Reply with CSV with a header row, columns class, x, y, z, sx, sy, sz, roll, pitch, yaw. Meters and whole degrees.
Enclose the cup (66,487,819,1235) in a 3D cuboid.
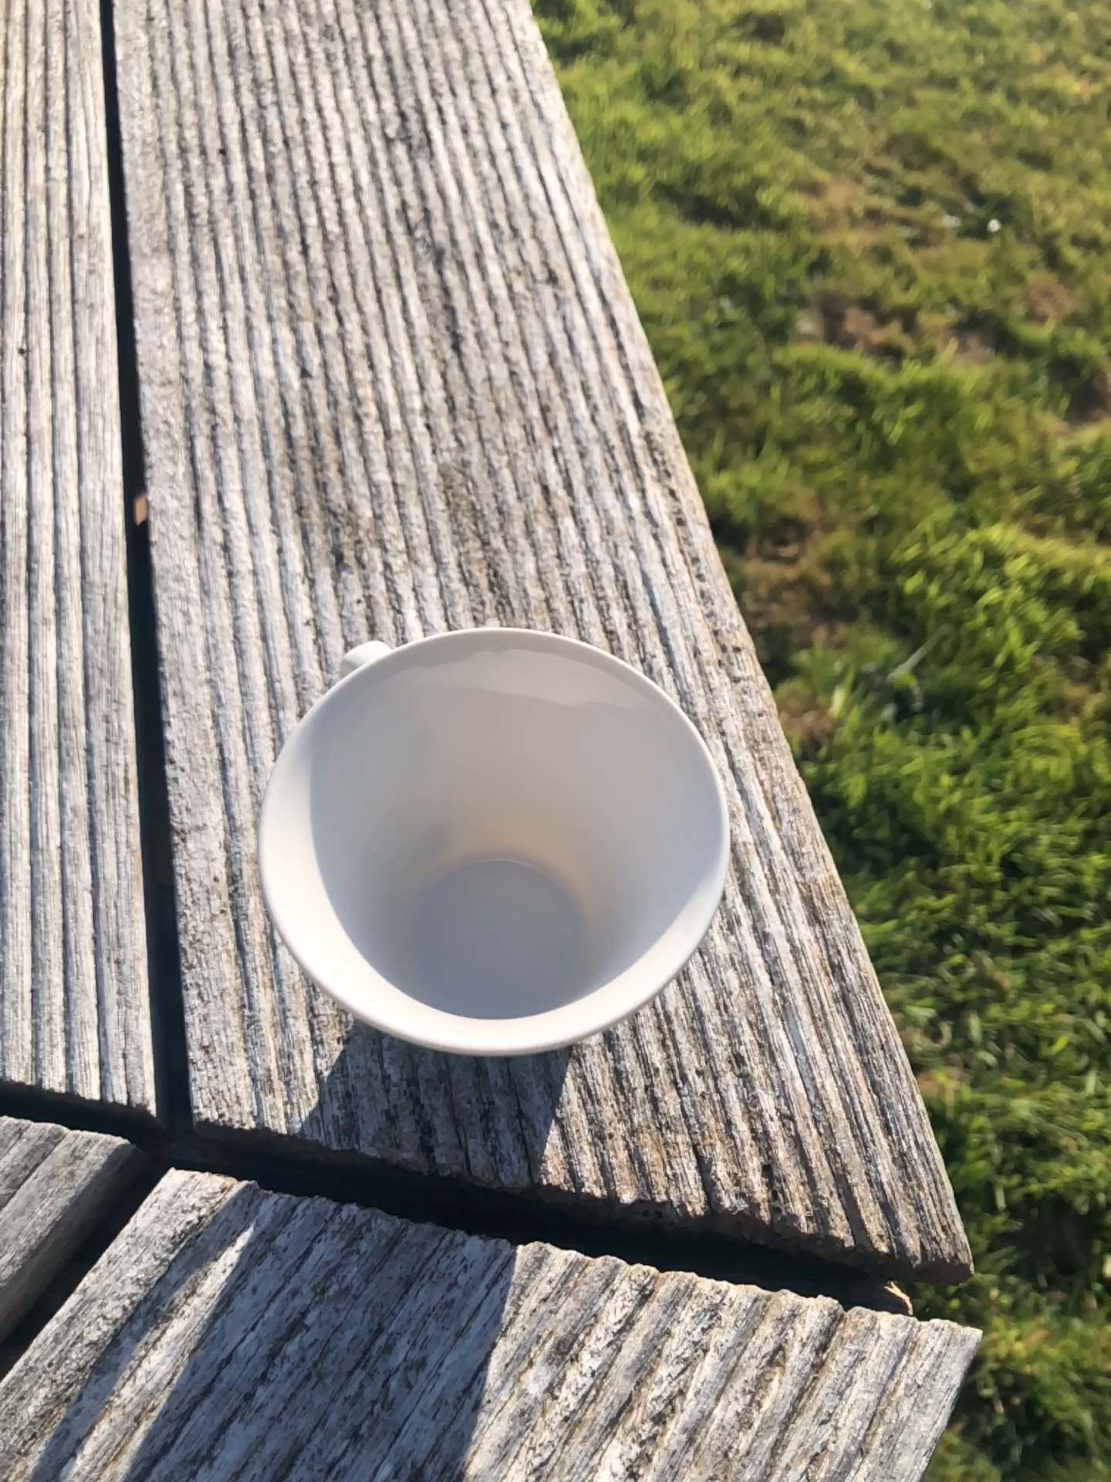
class,x,y,z,sx,sy,sz,roll,pitch,yaw
cup,-0.020,0.019,0.222,0.076,0.053,0.097,-39,69,-24
